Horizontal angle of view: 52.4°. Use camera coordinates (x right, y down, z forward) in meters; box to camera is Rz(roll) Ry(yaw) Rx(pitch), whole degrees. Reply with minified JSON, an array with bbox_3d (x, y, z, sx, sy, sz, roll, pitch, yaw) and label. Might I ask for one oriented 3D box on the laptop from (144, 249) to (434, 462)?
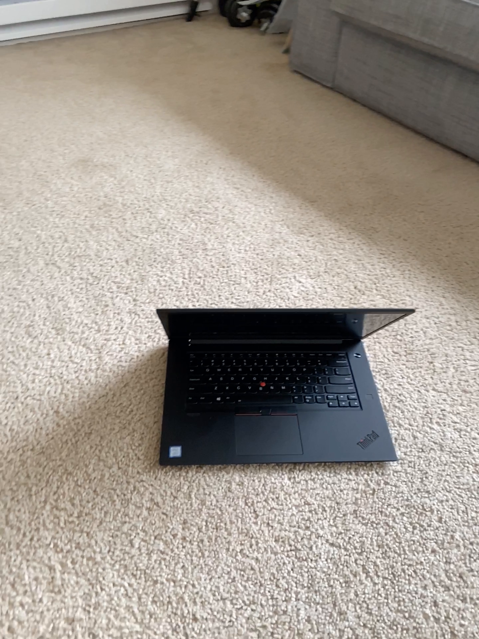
[{"bbox_3d":[0.054,0.052,0.743,0.354,0.198,0.245,0,46,-4],"label":"laptop"}]
